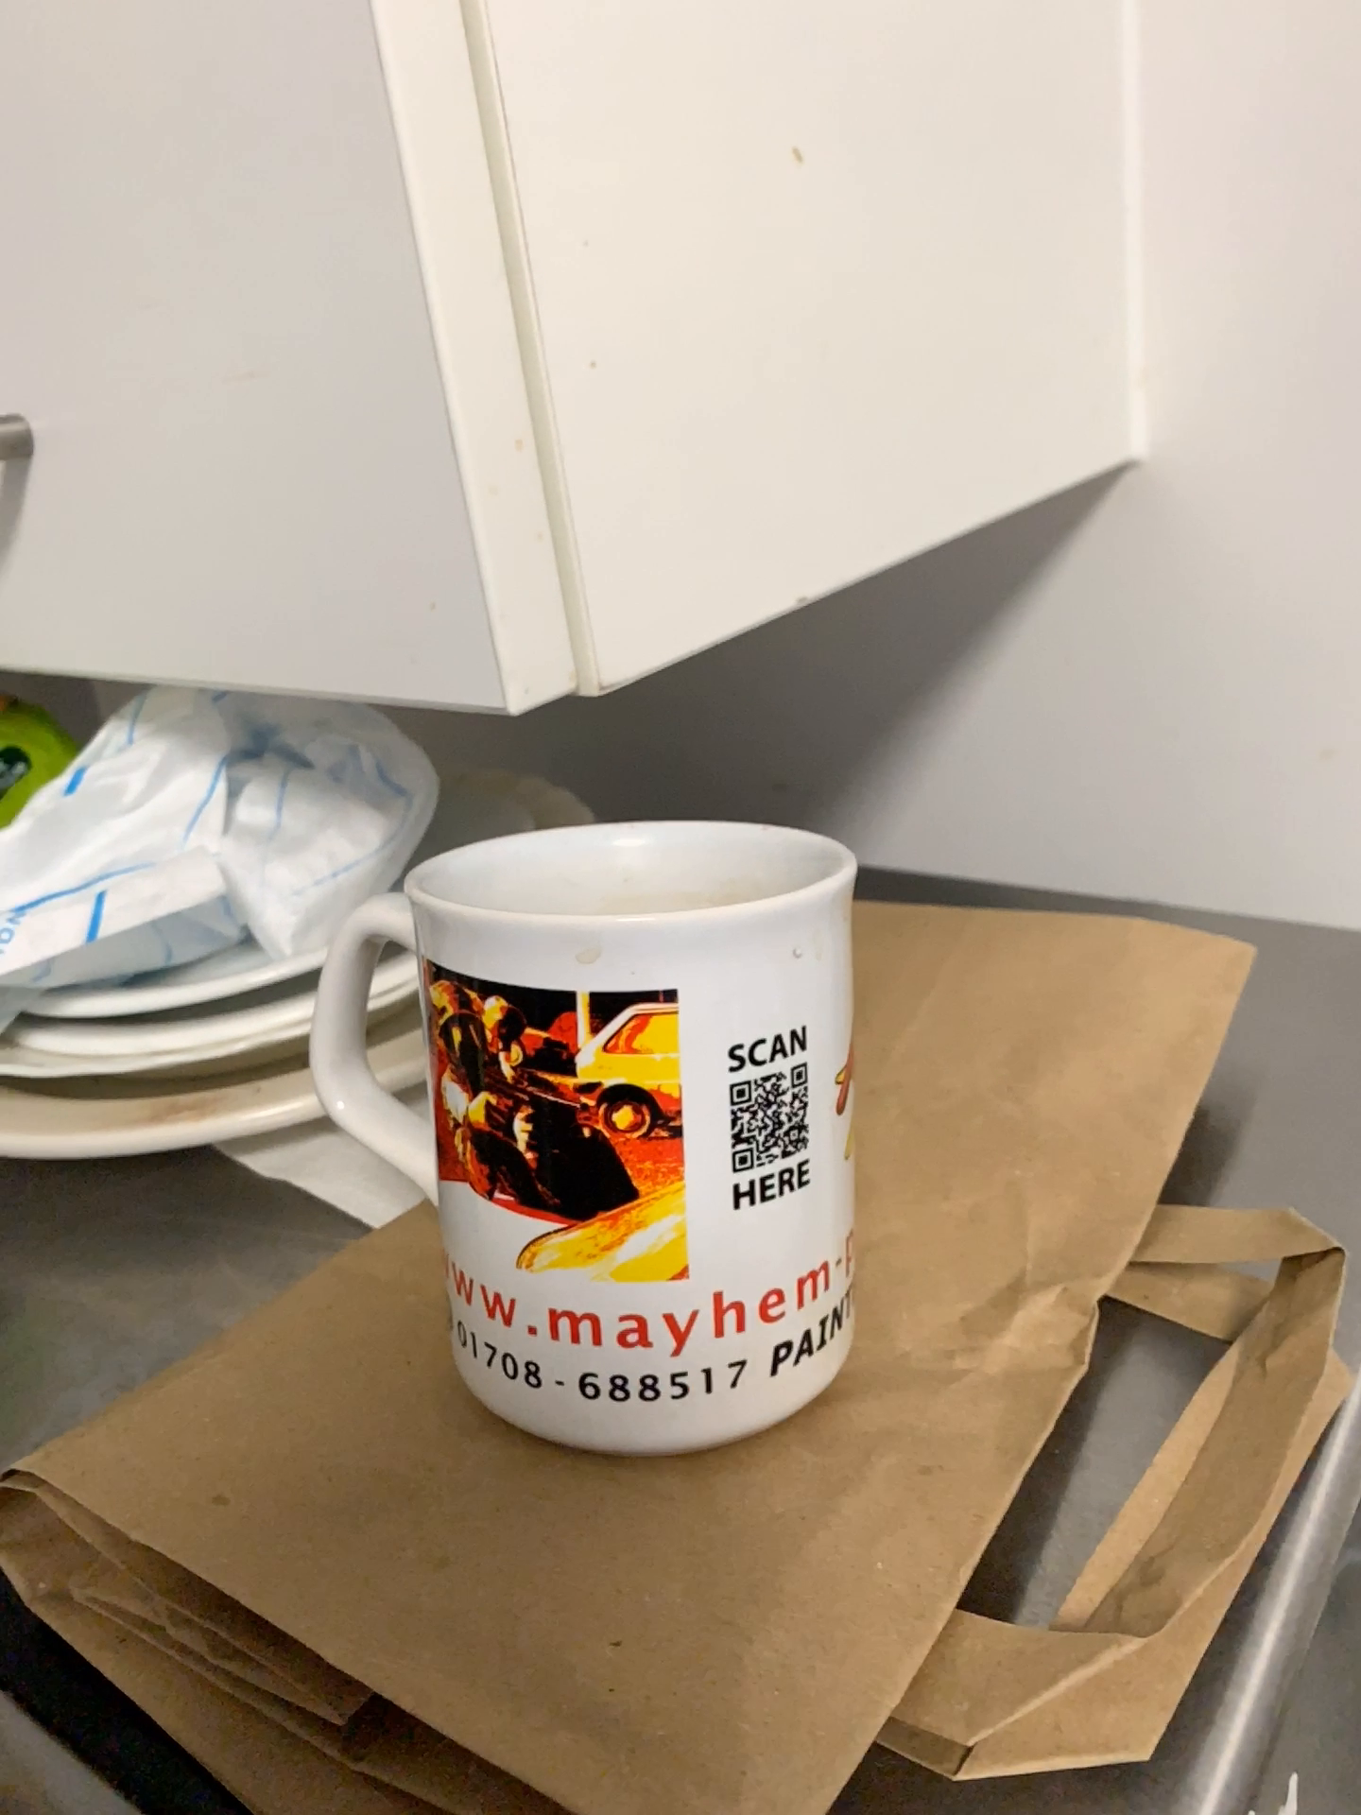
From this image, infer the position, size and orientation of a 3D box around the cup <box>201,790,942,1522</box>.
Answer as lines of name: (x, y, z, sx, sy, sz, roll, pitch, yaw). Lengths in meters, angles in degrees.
cup: (-0.016, 0.032, 0.253, 0.100, 0.088, 0.078, 6, 16, 33)
